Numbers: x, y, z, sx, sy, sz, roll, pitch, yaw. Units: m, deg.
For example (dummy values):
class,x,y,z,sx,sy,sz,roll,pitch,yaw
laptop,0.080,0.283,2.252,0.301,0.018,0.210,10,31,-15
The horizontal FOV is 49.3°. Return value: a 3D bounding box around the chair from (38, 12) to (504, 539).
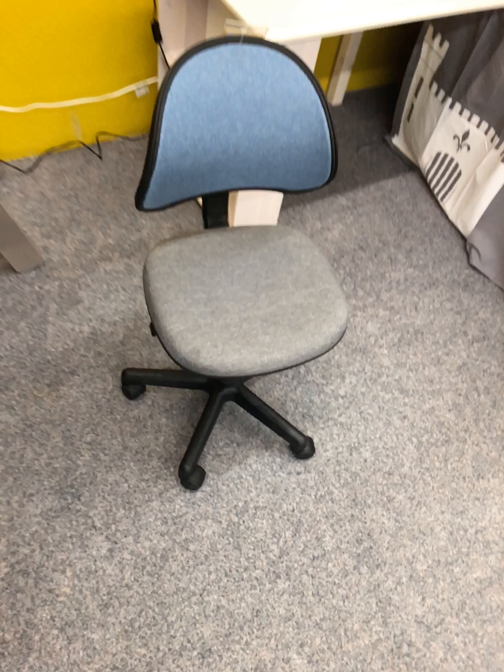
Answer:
class,x,y,z,sx,sy,sz,roll,pitch,yaw
chair,0.014,-0.090,1.071,0.602,0.747,0.561,-15,59,-20
